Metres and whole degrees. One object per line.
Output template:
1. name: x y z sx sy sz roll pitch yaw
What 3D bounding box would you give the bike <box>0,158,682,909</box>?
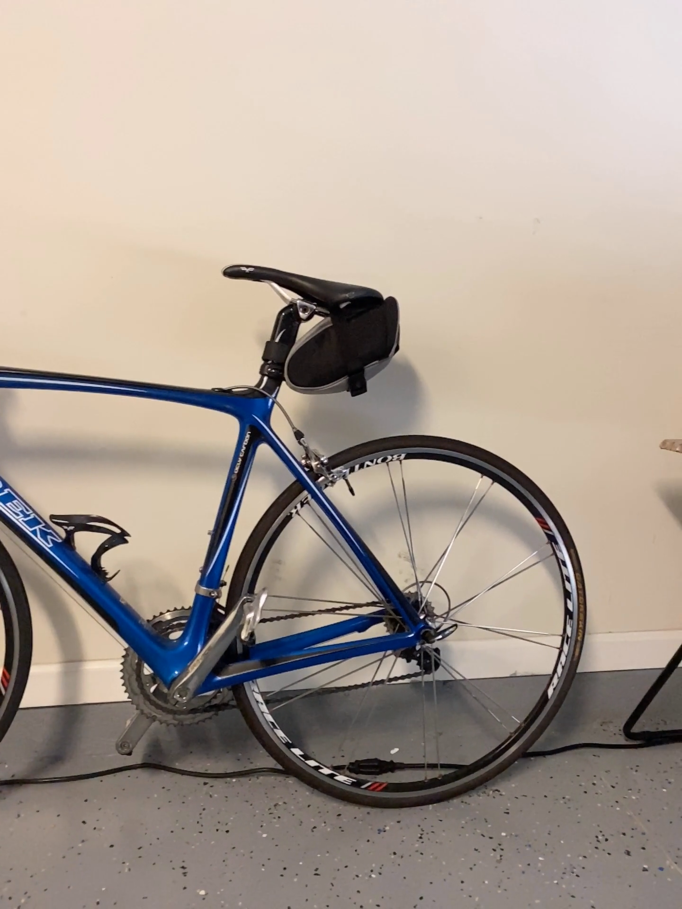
1. bike: -0.250 0.232 1.076 1.639 0.883 0.401 2 8 -22
